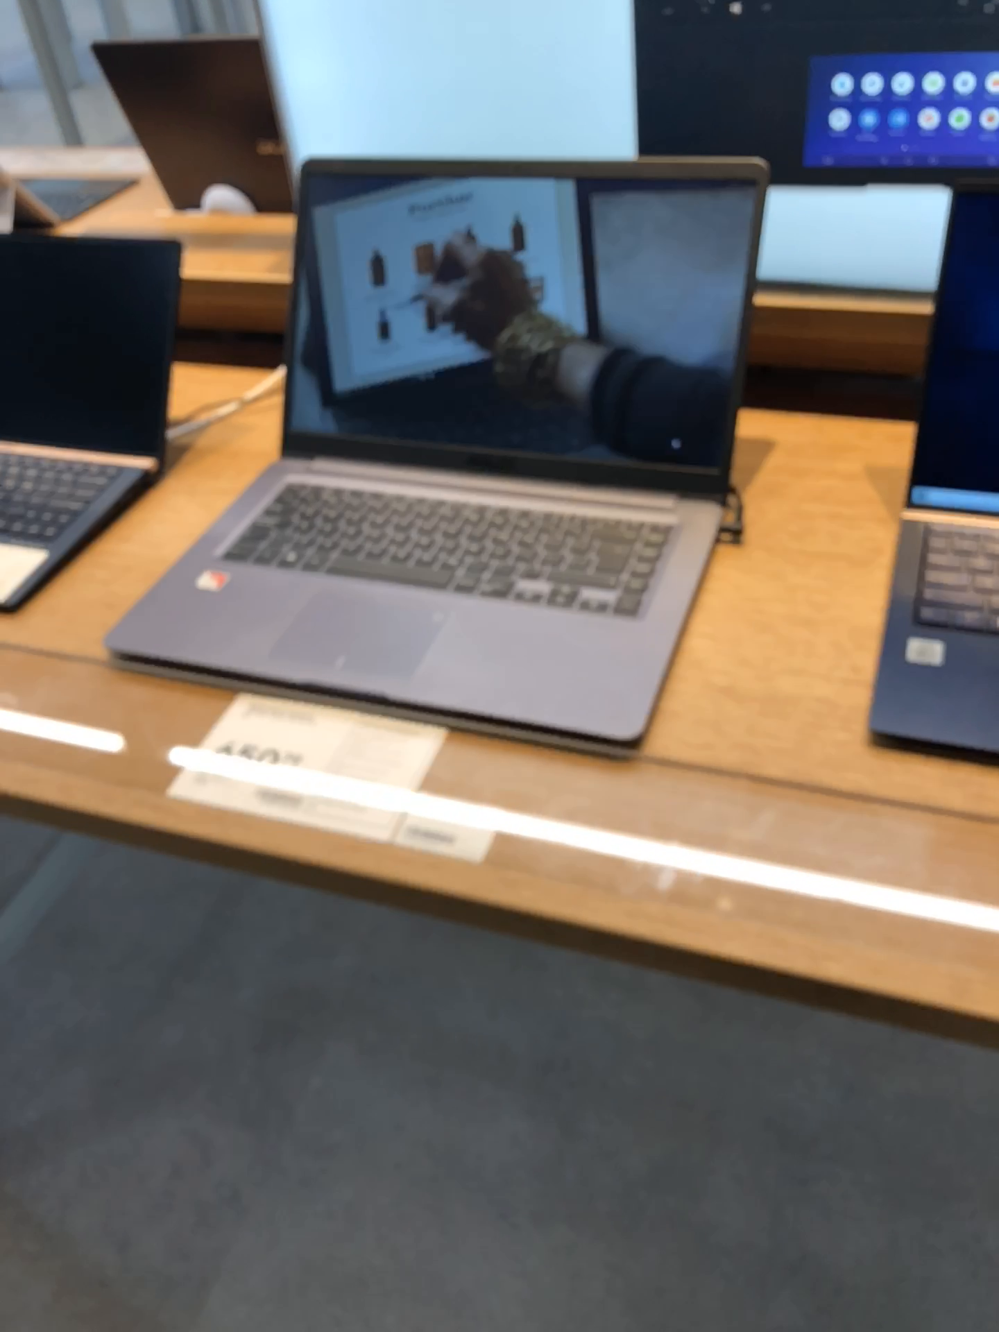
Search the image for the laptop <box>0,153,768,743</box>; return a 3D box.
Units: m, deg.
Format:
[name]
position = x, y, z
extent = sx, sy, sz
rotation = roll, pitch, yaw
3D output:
[laptop]
position = -0.037, -0.180, 0.742
extent = 0.353, 0.177, 0.391
rotation = 9, 44, 18
